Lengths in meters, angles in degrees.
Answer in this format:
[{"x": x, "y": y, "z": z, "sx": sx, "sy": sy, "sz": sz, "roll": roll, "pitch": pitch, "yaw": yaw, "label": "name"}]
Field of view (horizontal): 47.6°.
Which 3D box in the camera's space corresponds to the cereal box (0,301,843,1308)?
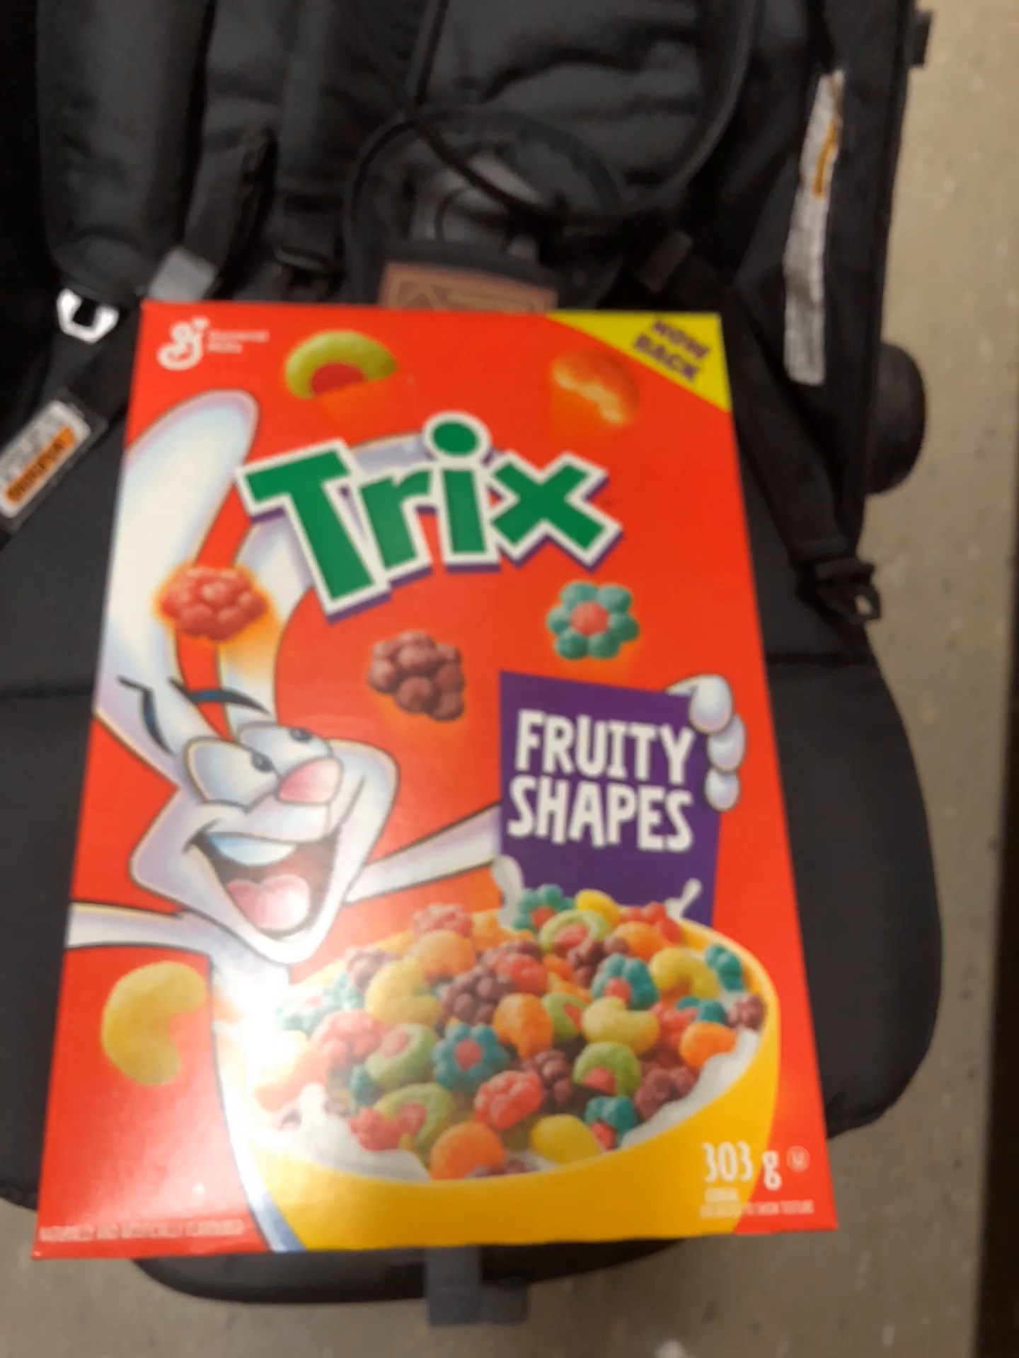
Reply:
[{"x": -0.027, "y": 0.022, "z": 0.347, "sx": 0.200, "sy": 0.060, "sz": 0.280, "roll": 0, "pitch": 68, "yaw": -5, "label": "cereal box"}]
